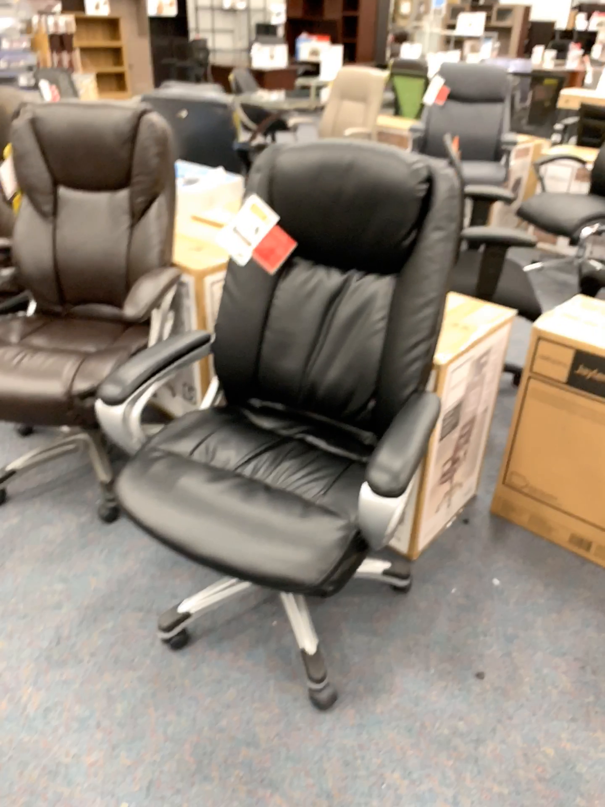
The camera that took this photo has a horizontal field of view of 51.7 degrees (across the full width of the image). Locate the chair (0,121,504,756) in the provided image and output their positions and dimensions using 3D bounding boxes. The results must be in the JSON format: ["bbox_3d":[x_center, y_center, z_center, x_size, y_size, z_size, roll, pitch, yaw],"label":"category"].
[{"bbox_3d":[-0.070,0.022,1.366,0.675,1.055,0.660,16,34,23],"label":"chair"}]

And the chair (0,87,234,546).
[{"bbox_3d":[-0.722,-0.311,1.868,0.755,1.045,0.791,10,32,13],"label":"chair"}]
